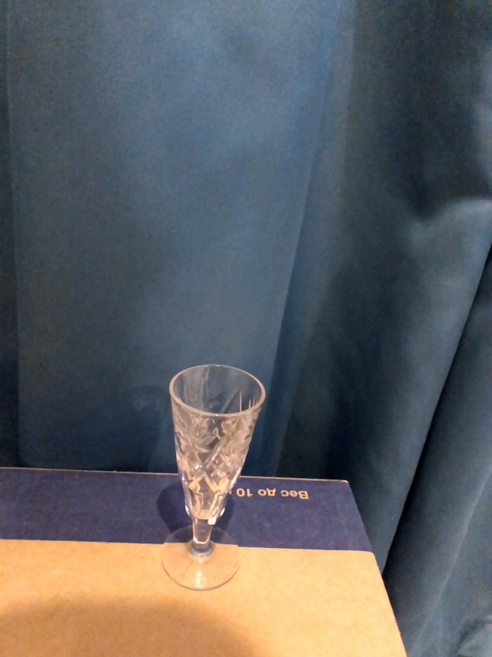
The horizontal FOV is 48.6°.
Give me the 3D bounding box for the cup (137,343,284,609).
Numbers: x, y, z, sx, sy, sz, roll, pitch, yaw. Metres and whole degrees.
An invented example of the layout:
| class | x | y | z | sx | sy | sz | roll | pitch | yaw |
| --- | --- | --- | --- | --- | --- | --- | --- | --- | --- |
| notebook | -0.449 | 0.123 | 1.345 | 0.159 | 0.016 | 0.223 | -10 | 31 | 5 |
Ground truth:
| class | x | y | z | sx | sy | sz | roll | pitch | yaw |
| --- | --- | --- | --- | --- | --- | --- | --- | --- | --- |
| cup | -0.020 | 0.077 | 0.287 | 0.053 | 0.118 | 0.051 | 5 | 27 | -2 |
